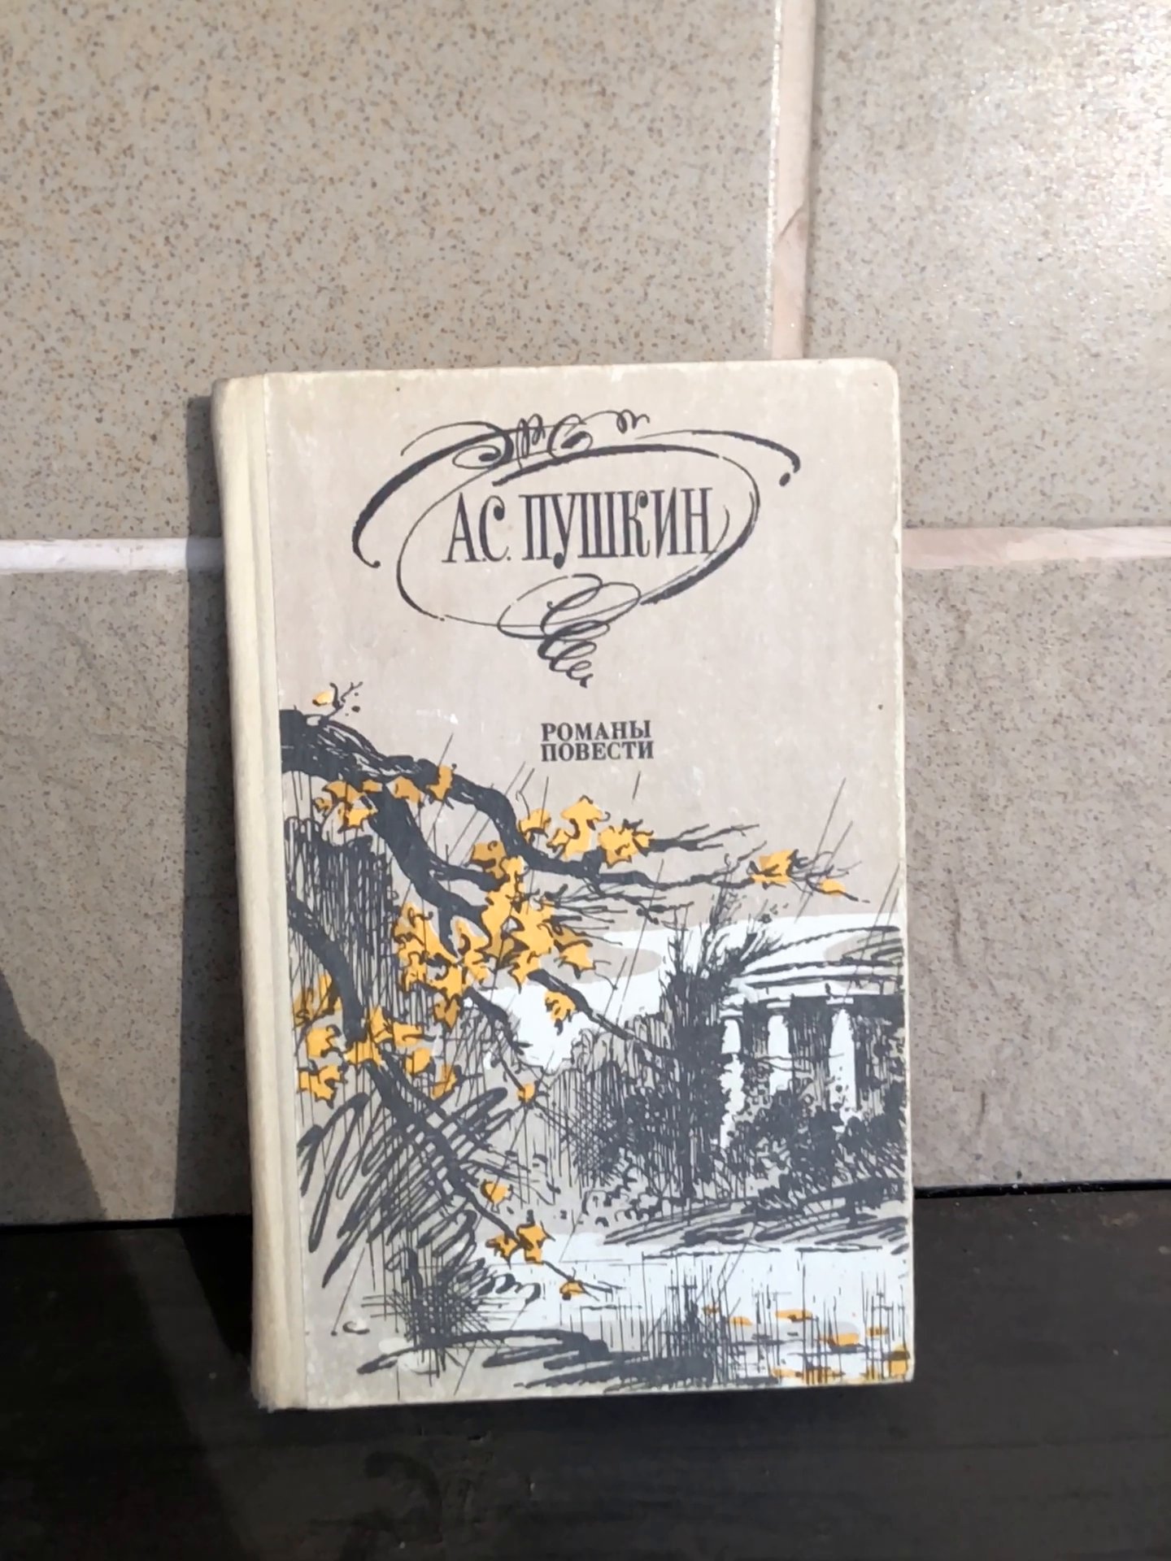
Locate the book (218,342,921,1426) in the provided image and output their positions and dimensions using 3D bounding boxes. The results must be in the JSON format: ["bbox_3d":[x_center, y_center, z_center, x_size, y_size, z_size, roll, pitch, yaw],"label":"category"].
[{"bbox_3d":[-0.001,0.019,0.257,0.125,0.197,0.040,-1,4,-2],"label":"book"}]
